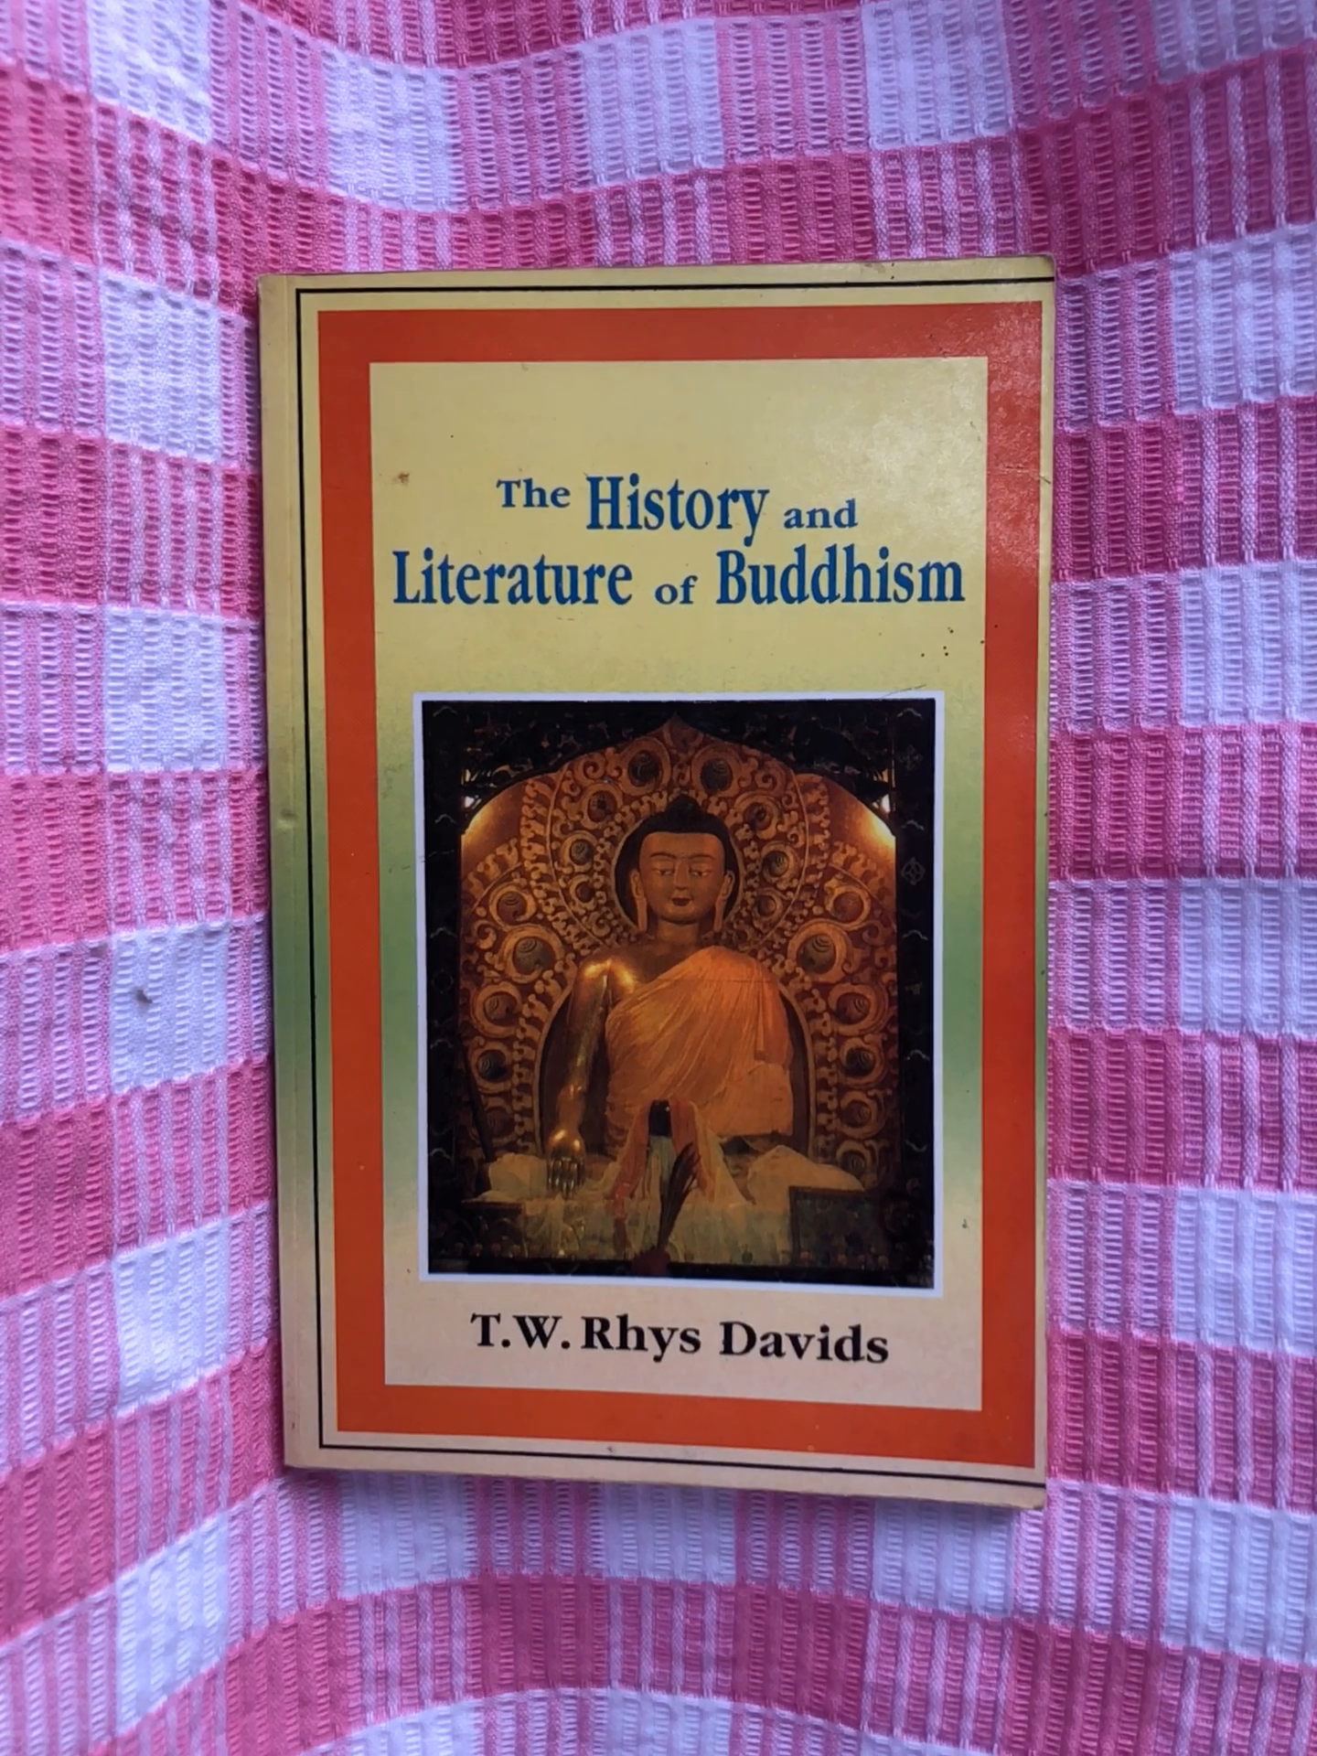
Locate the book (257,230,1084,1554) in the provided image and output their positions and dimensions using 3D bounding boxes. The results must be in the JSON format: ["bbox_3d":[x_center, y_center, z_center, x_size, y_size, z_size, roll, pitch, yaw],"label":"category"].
[{"bbox_3d":[0.000,0.004,0.262,0.020,0.140,0.220,-24,115,-81],"label":"book"}]
